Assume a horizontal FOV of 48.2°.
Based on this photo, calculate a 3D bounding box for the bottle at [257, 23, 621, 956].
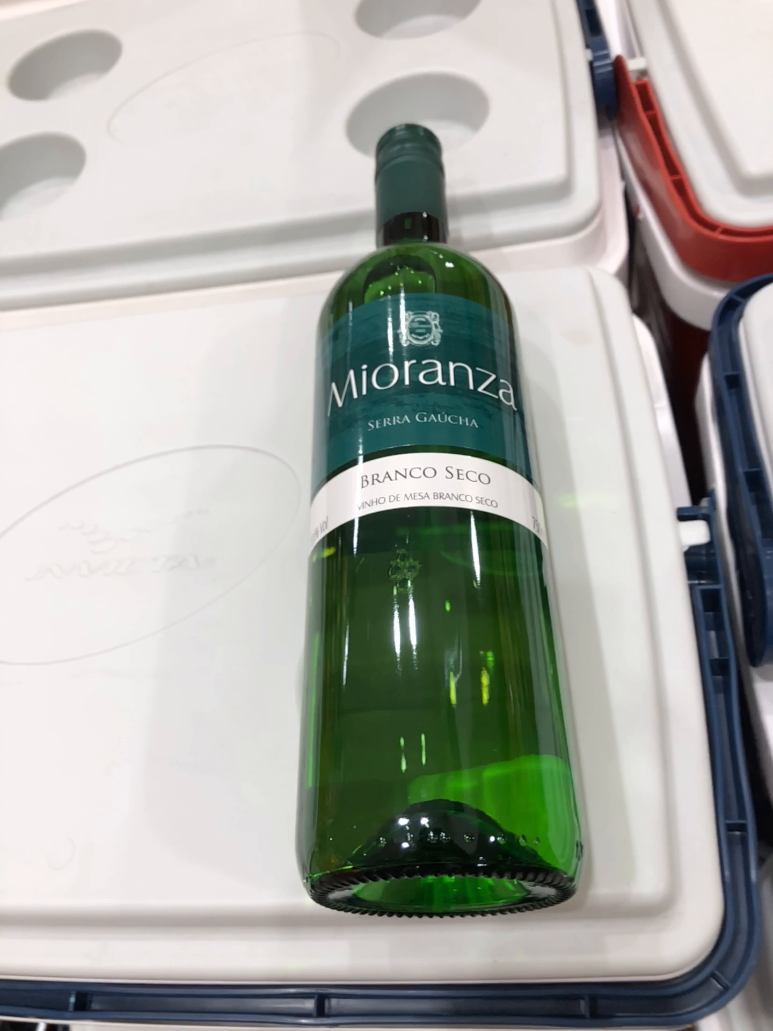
[{"bbox_3d":[0.016,-0.045,0.318,0.080,0.070,0.362,-6,56,9],"label":"bottle"}]
